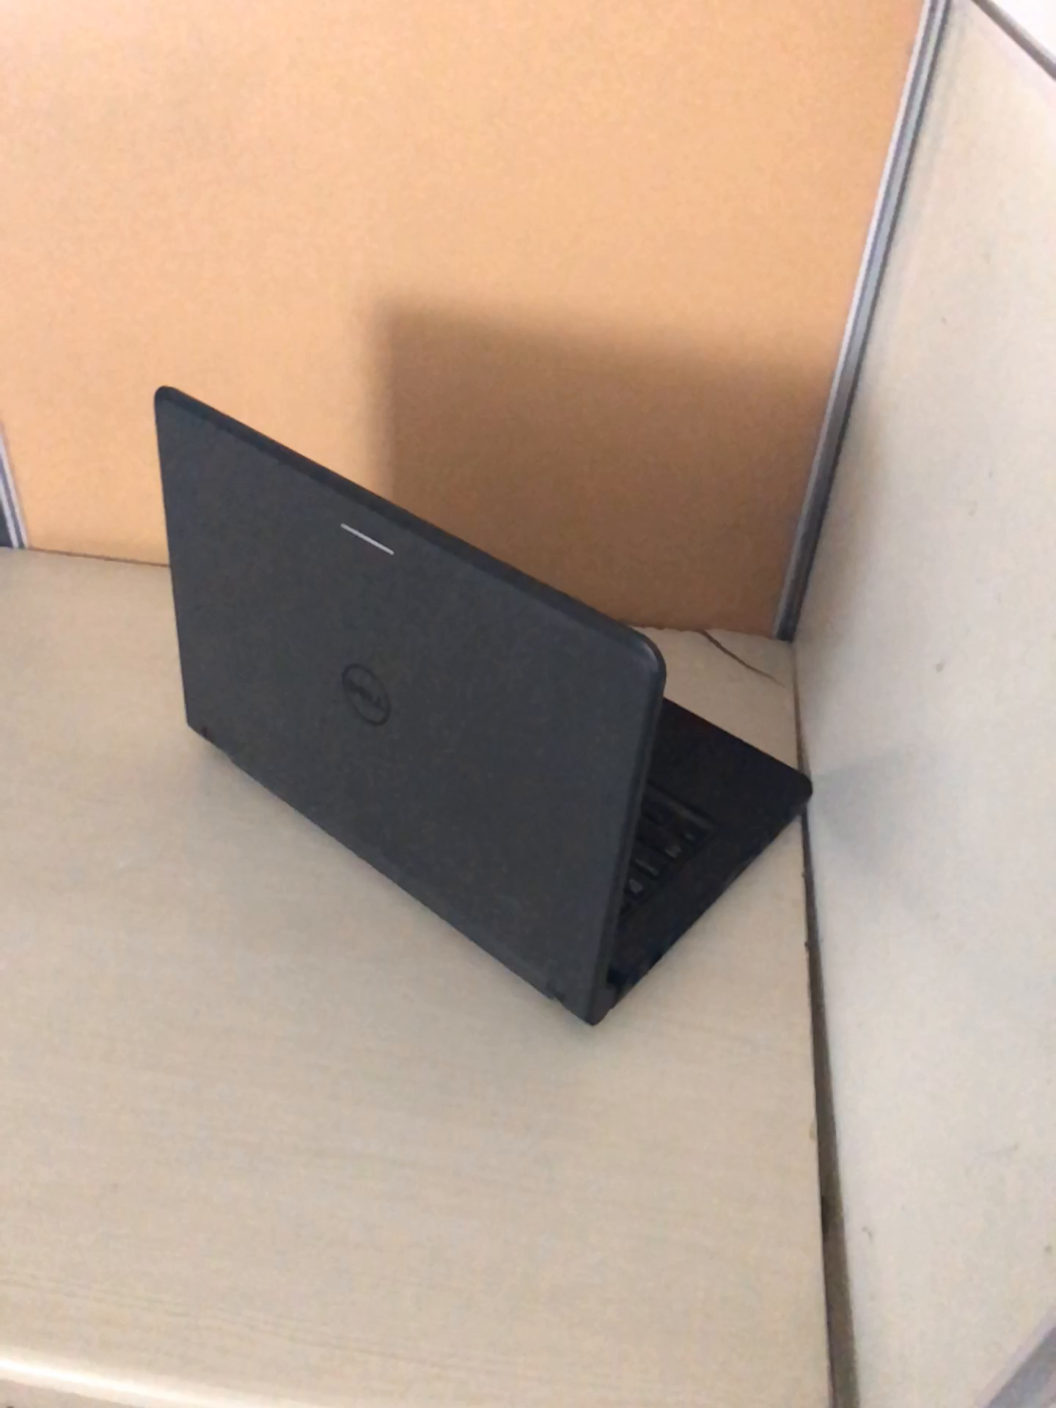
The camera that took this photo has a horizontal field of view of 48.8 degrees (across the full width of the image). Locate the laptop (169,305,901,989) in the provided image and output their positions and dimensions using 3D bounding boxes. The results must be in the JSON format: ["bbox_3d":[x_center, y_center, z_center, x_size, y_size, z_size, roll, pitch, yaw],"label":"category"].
[{"bbox_3d":[-0.004,-0.053,0.659,0.305,0.211,0.215,31,46,28],"label":"laptop"}]
